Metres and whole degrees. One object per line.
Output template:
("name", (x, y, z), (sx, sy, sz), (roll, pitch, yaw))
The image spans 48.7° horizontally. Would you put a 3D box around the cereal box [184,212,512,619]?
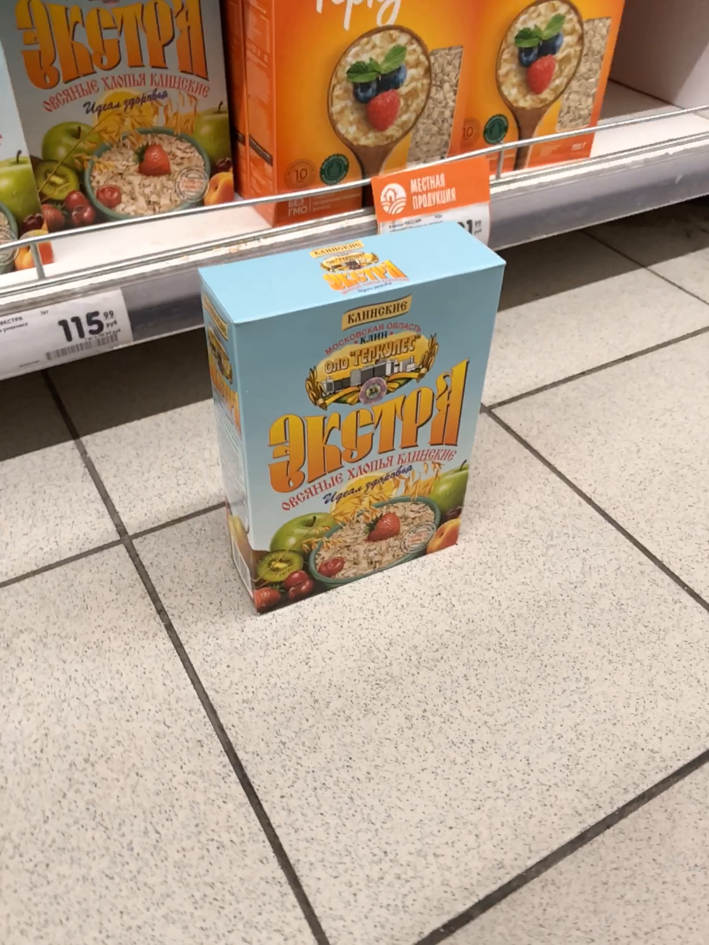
("cereal box", (-0.004, -0.027, 0.456), (0.150, 0.209, 0.060), (-17, 45, -20))
